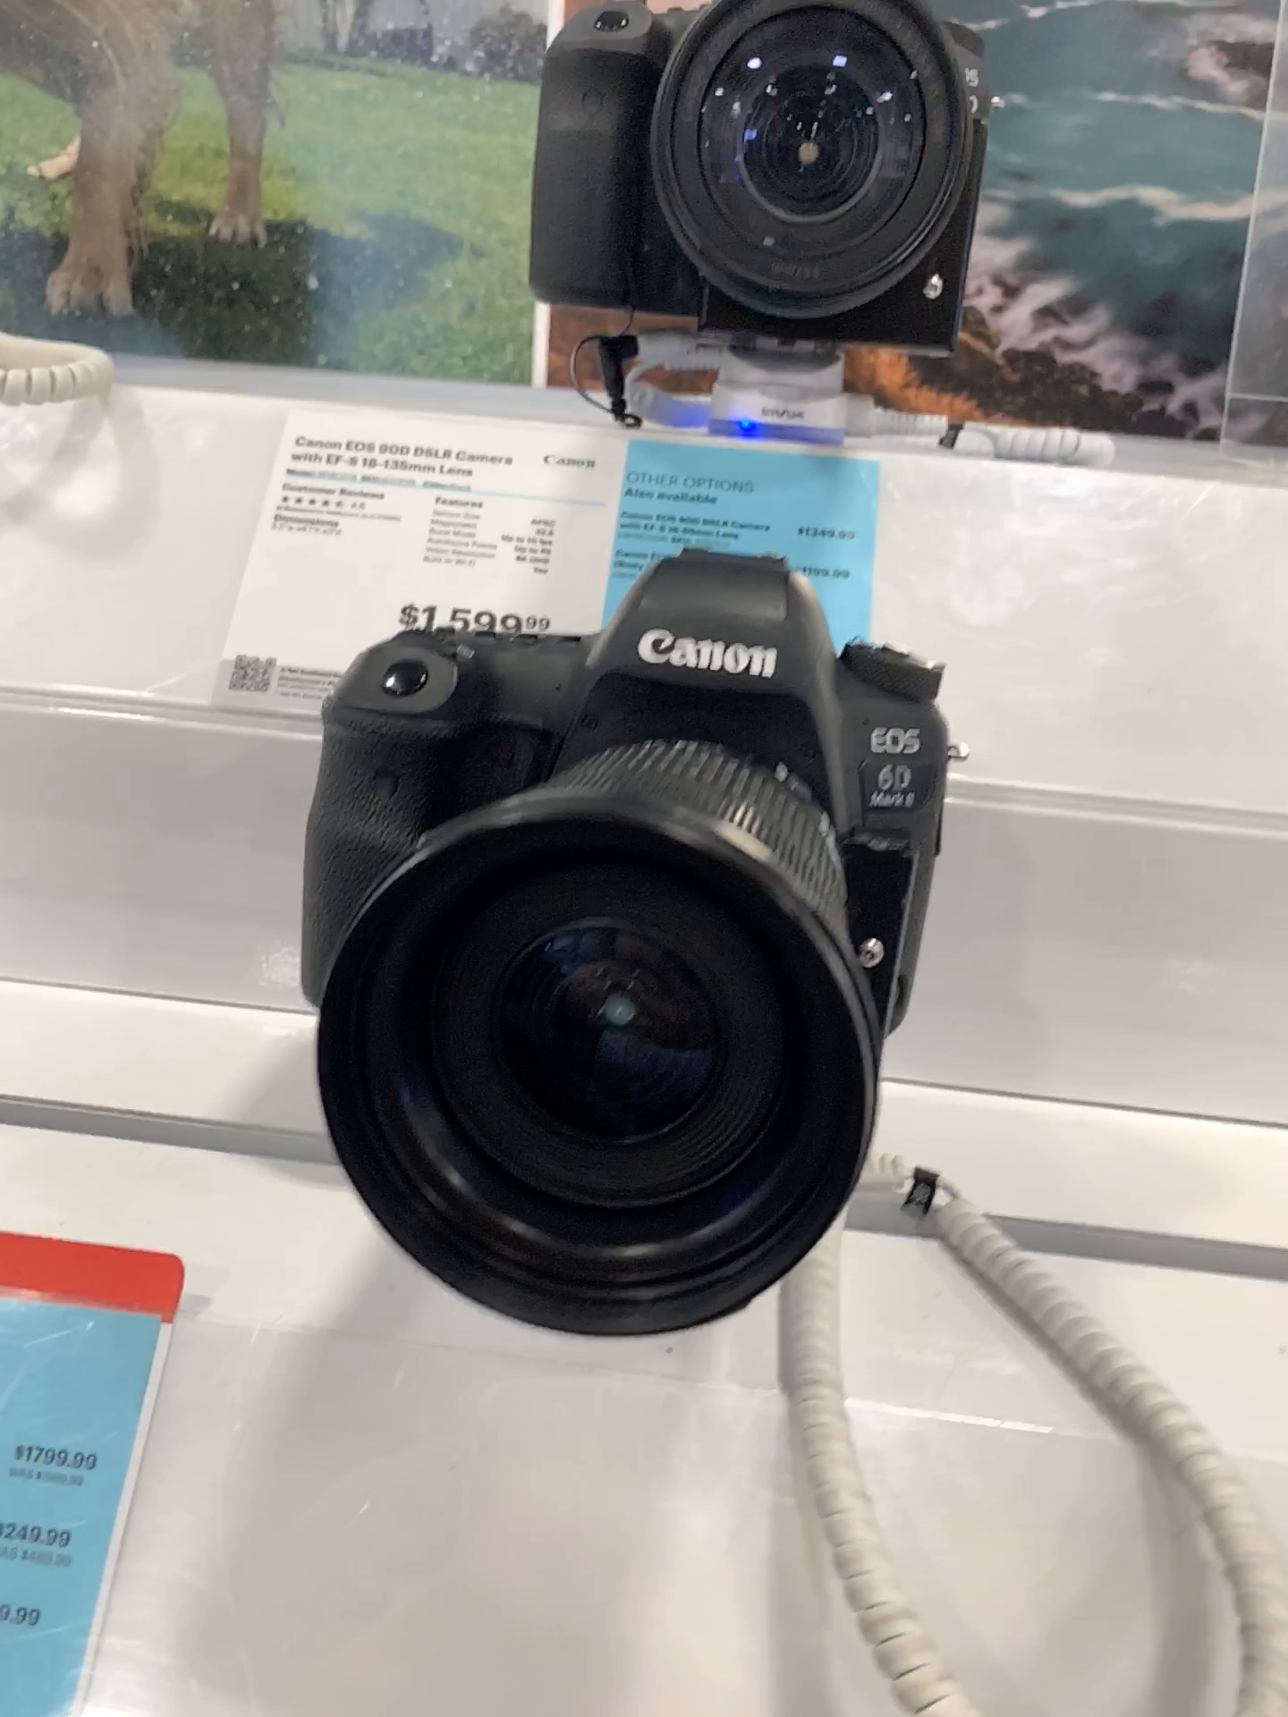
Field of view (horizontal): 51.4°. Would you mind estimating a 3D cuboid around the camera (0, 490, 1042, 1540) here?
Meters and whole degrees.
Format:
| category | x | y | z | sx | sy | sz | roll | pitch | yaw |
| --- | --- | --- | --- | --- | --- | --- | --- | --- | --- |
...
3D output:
| category | x | y | z | sx | sy | sz | roll | pitch | yaw |
| --- | --- | --- | --- | --- | --- | --- | --- | --- | --- |
| camera | -0.017 | 0.002 | 0.260 | 0.137 | 0.124 | 0.180 | 6 | 19 | 5 |
